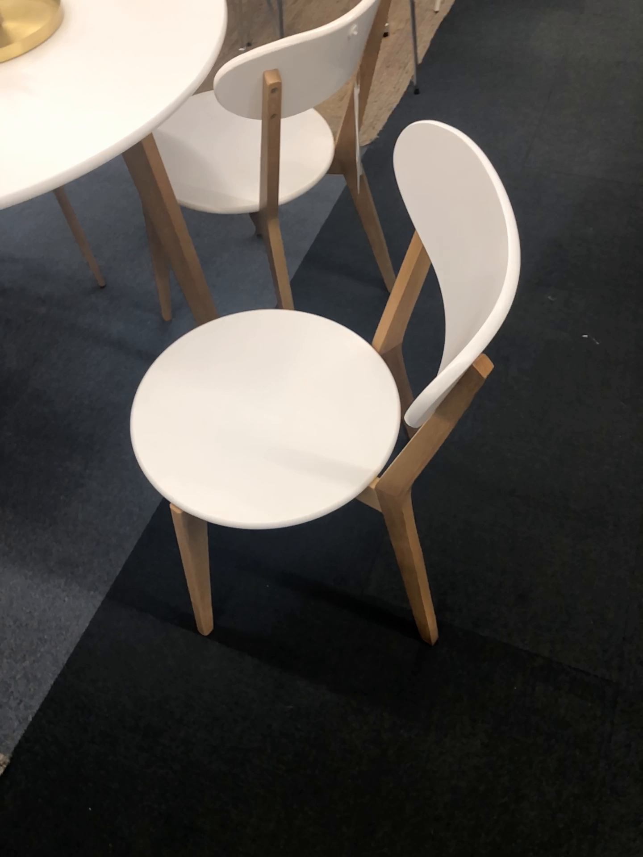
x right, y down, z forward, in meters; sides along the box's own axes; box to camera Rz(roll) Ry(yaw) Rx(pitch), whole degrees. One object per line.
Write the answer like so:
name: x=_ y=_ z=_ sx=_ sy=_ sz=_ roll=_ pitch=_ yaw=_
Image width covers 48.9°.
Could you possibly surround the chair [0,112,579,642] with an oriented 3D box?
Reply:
chair: x=-0.029 y=-0.032 z=1.019 sx=0.560 sy=0.598 sz=0.481 roll=0 pitch=55 yaw=4
